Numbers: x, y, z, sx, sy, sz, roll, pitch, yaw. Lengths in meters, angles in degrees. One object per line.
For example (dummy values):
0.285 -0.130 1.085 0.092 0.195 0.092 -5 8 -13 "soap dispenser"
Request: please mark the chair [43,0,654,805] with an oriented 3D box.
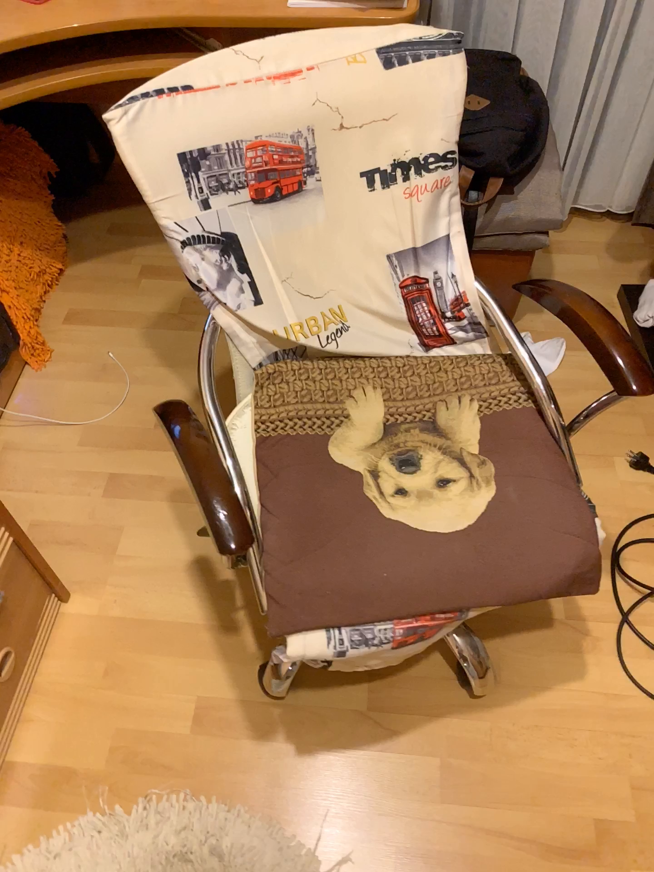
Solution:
0.052 -0.015 0.802 0.475 0.665 0.567 -18 54 -14 "chair"
